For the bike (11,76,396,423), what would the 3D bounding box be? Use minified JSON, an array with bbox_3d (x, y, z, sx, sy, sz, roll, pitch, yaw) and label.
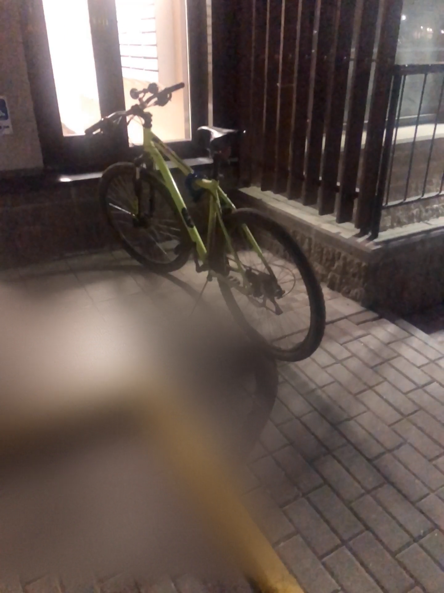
[{"bbox_3d":[-0.237,-0.423,2.390,0.720,1.095,1.765,-21,34,-35],"label":"bike"}]
